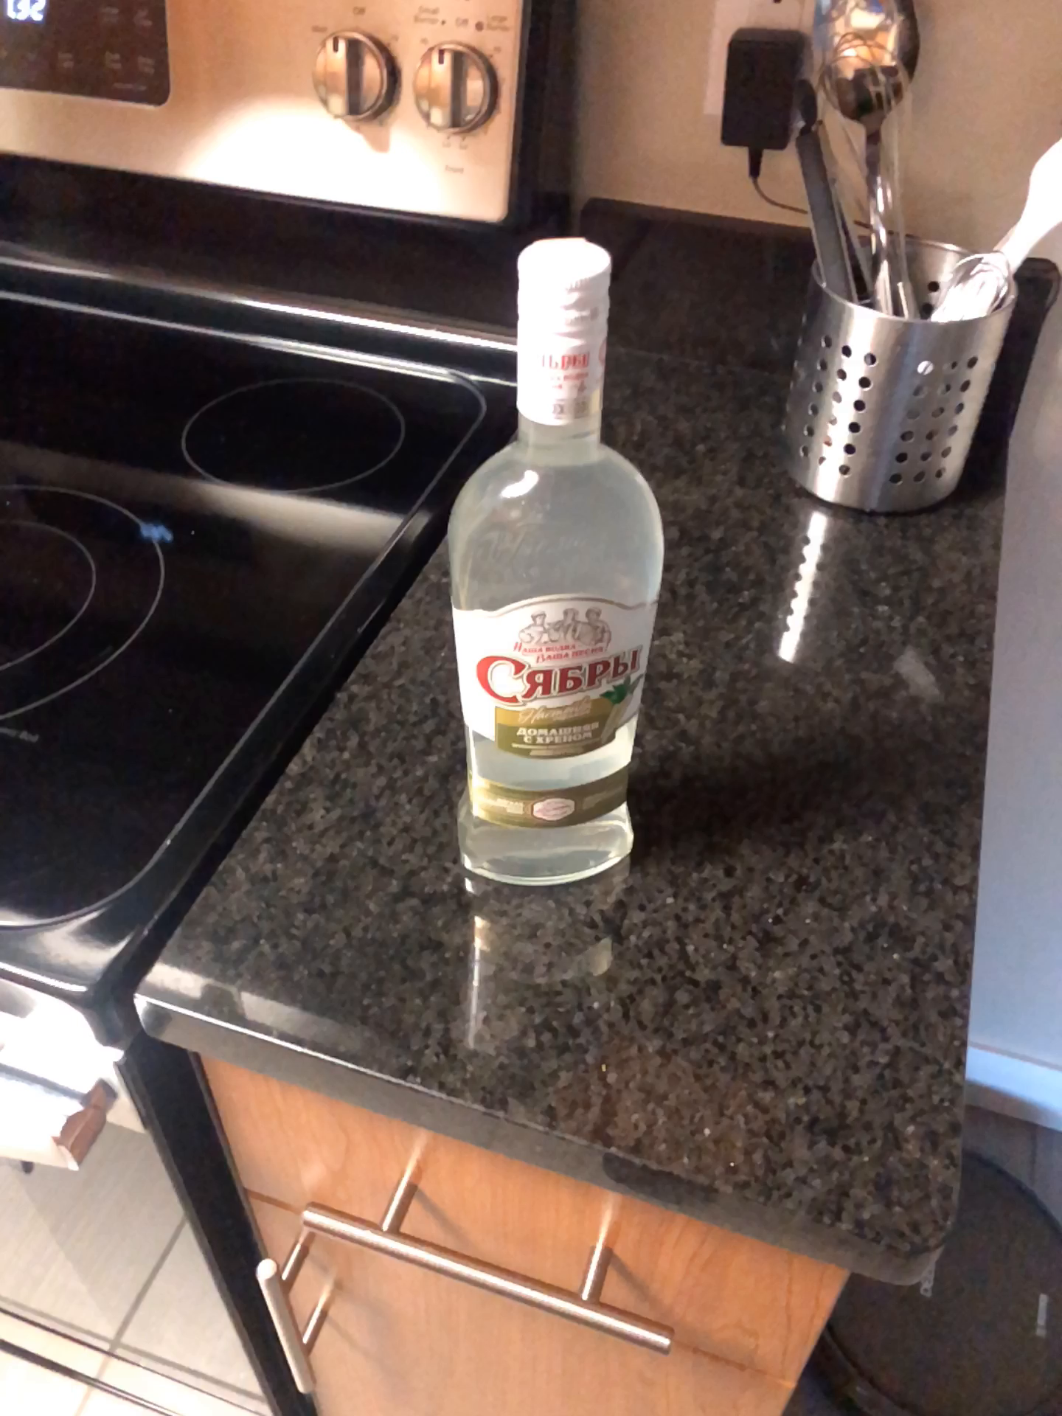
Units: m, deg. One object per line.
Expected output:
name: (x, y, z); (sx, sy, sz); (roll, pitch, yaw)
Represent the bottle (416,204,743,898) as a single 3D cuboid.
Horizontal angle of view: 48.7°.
bottle: (0.011, -0.038, 0.436); (0.090, 0.269, 0.060); (0, 43, -1)
